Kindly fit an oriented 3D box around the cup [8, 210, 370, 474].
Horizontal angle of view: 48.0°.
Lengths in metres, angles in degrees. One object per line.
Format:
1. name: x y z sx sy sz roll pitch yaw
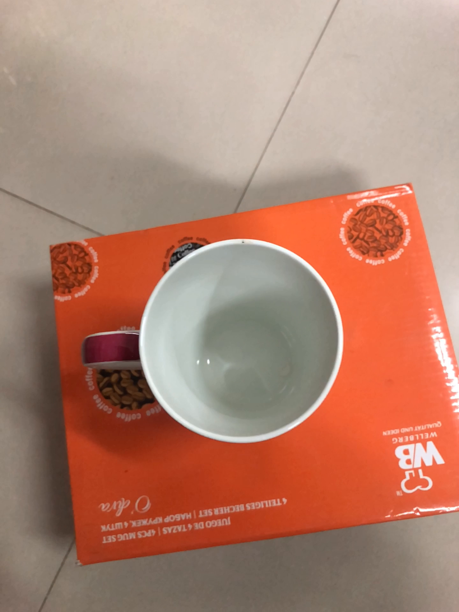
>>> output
1. cup: -0.014 0.021 0.245 0.130 0.110 0.090 -4 80 4
